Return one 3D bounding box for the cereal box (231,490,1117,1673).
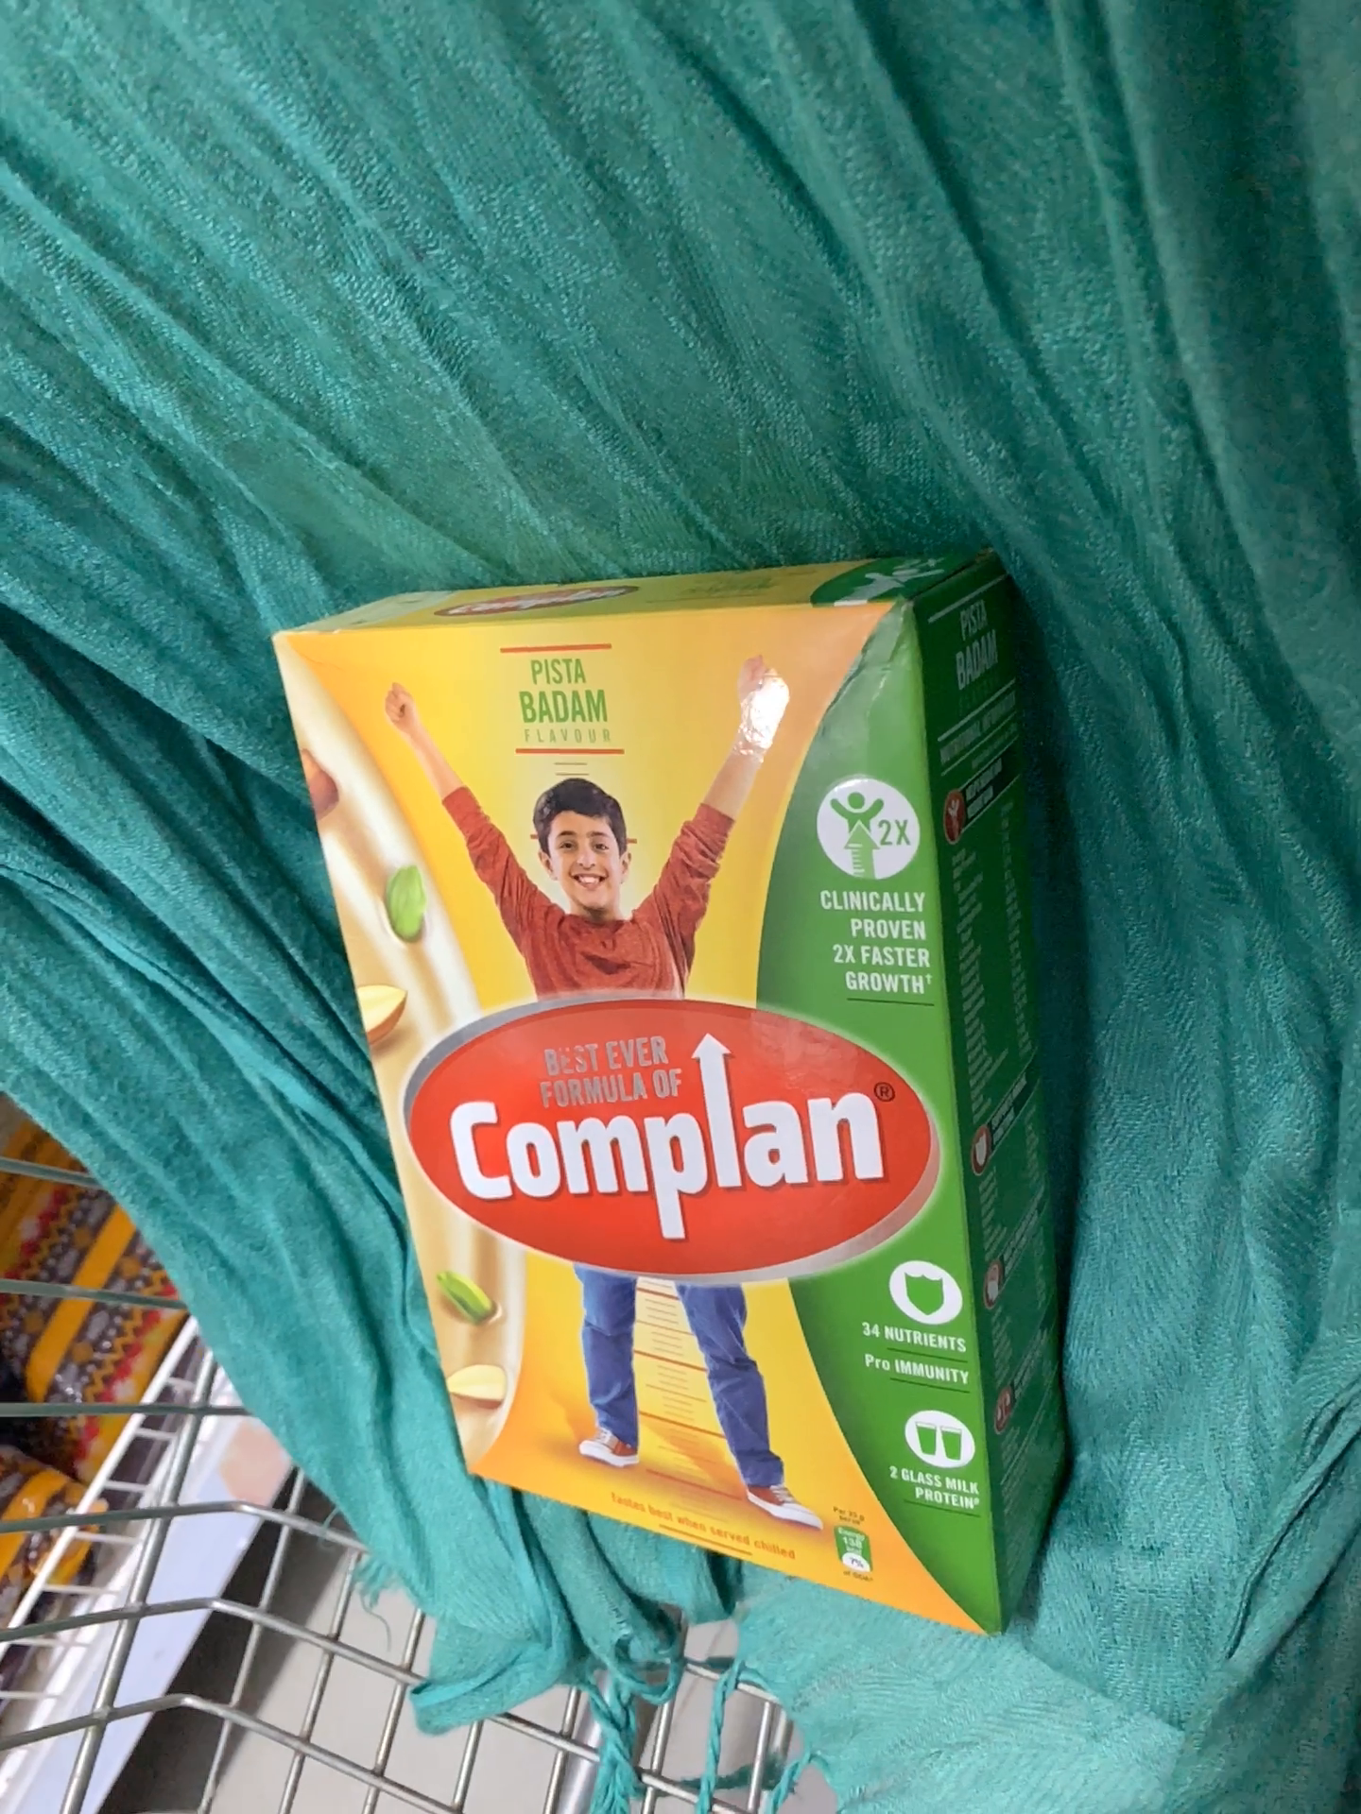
[{"bbox_3d":[0.004,0.030,0.283,0.141,0.060,0.200,2,110,31],"label":"cereal box"}]
